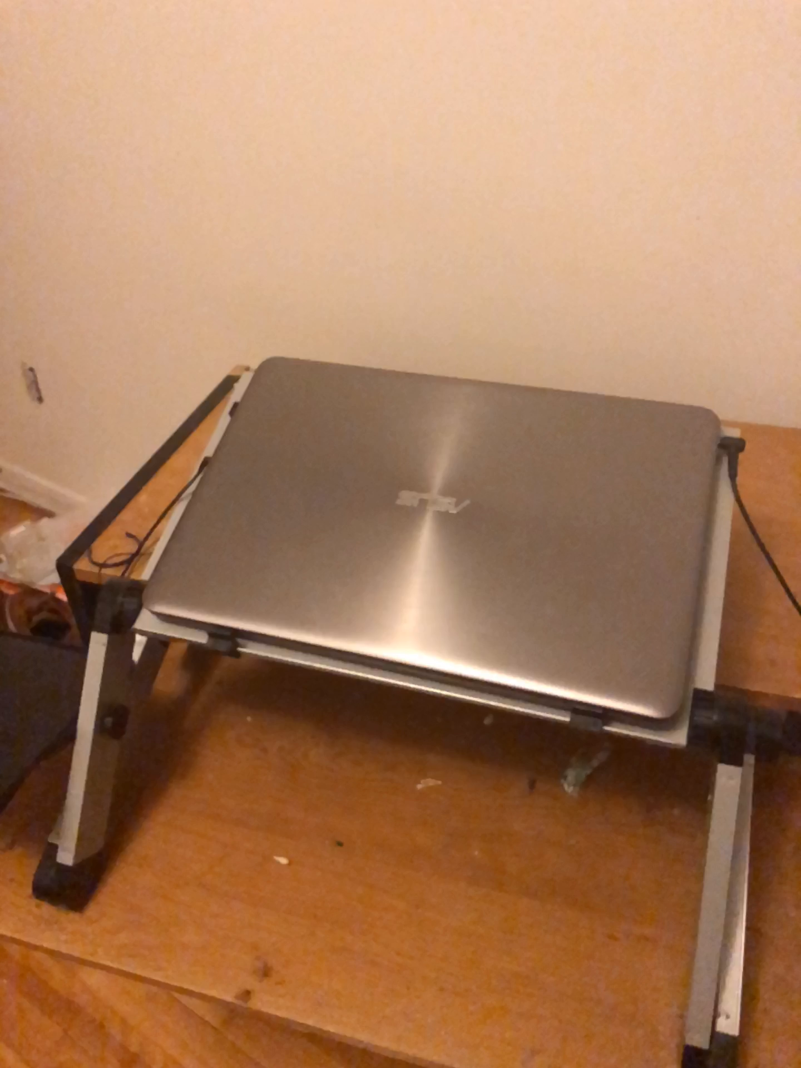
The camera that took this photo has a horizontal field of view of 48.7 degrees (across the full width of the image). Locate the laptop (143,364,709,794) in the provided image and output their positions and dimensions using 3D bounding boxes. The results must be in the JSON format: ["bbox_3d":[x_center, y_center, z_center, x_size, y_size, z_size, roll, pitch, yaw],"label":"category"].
[{"bbox_3d":[0.023,0.010,0.666,0.362,0.071,0.250,9,55,18],"label":"laptop"}]
